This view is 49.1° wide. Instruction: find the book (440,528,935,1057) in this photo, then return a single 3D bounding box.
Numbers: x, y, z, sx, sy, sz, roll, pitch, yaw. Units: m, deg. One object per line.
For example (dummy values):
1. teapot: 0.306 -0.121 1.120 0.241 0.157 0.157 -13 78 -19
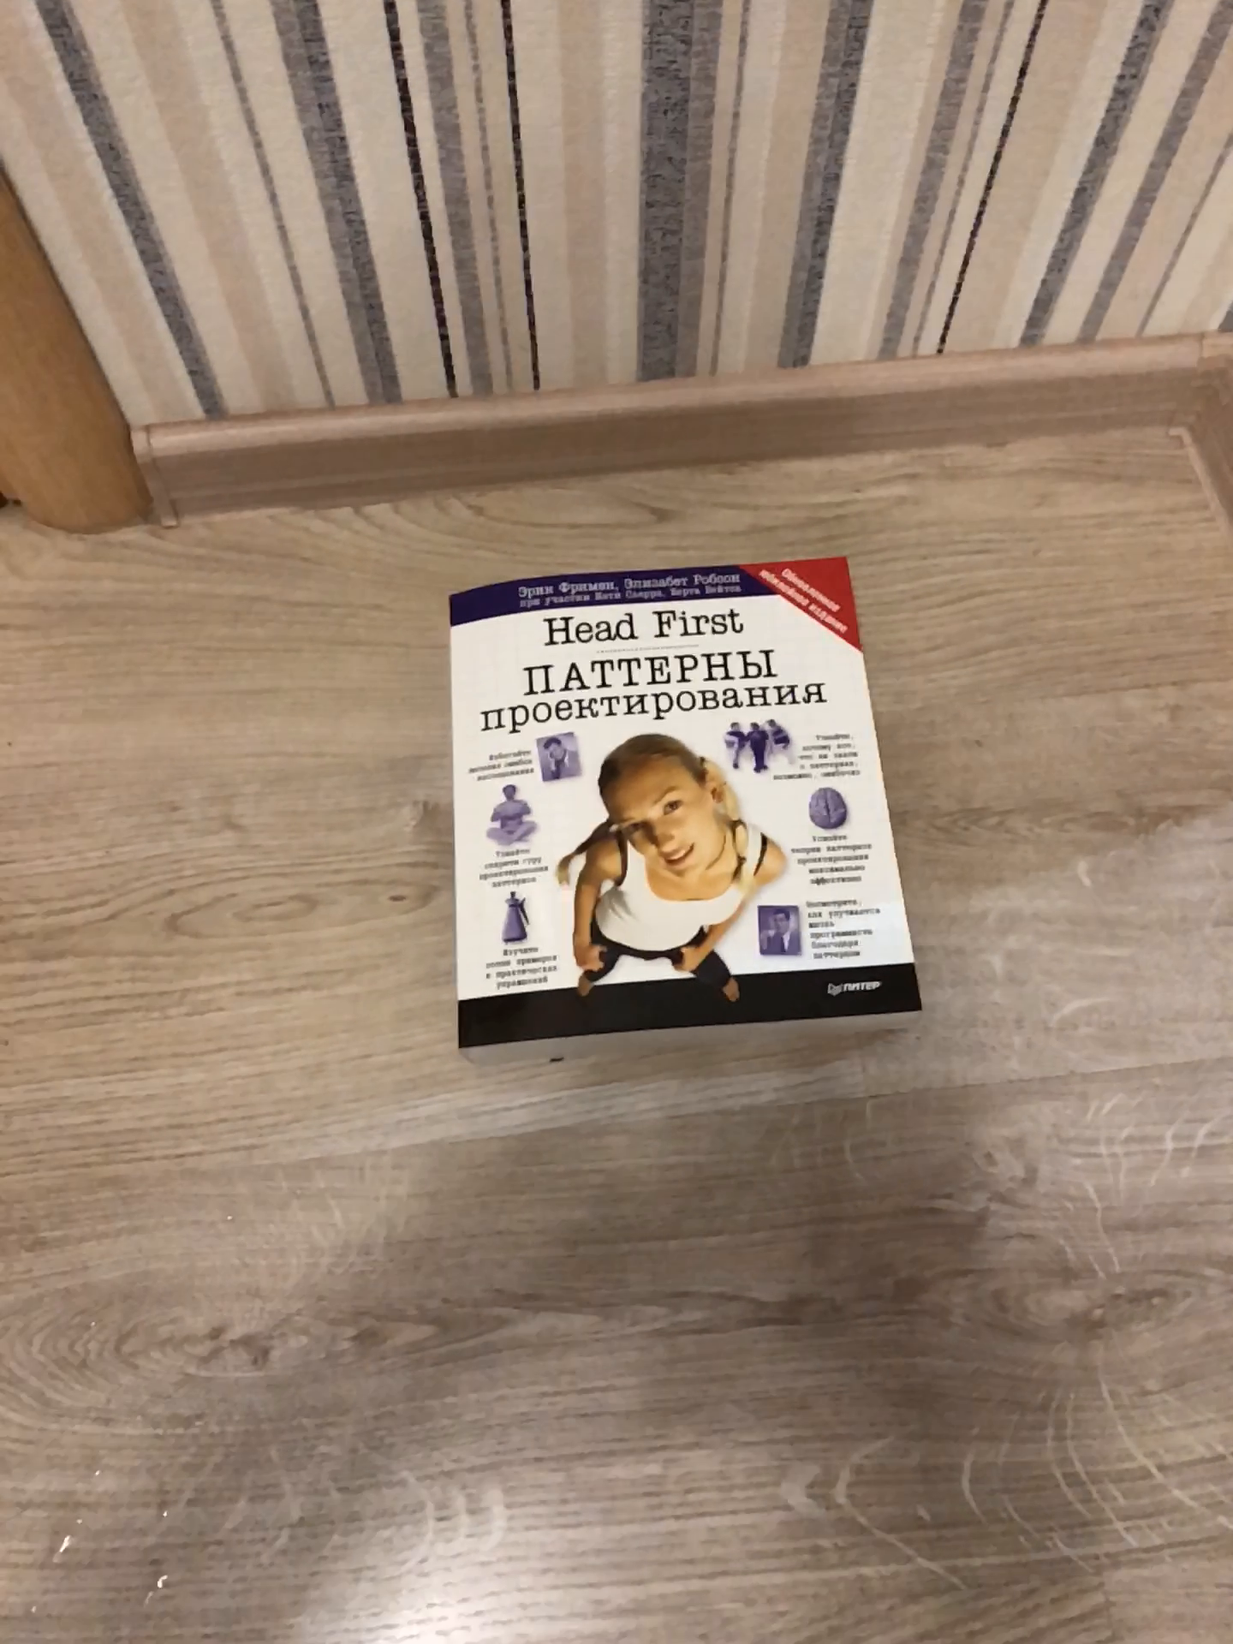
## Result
1. book: 0.025 -0.020 0.648 0.206 0.049 0.241 -4 67 -2
